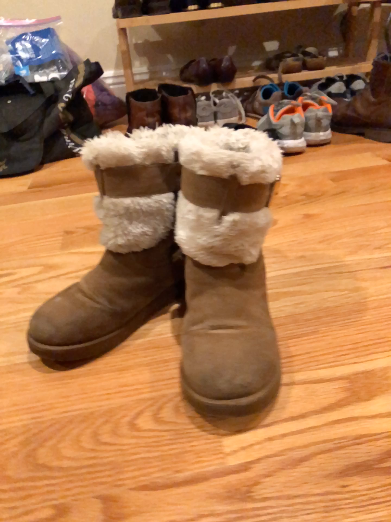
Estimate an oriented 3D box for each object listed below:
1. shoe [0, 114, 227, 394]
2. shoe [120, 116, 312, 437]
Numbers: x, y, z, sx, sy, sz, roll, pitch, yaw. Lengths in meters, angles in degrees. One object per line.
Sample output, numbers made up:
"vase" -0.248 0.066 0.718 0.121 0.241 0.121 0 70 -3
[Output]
"shoe" -0.094 -0.028 0.465 0.107 0.193 0.255 22 40 40
"shoe" 0.028 -0.007 0.411 0.113 0.193 0.256 -3 30 6
